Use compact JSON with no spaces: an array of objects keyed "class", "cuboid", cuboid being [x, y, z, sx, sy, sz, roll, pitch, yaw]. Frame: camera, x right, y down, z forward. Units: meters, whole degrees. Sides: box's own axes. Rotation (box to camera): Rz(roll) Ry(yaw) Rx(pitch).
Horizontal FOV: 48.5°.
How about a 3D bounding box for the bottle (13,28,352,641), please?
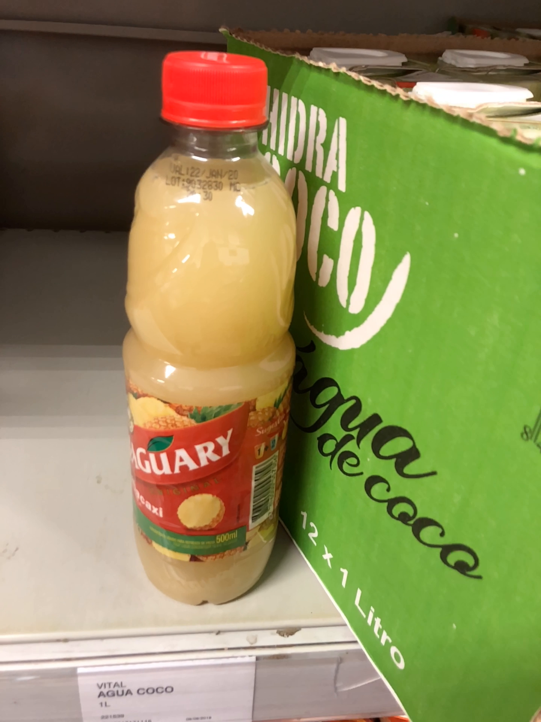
[{"class":"bottle","cuboid":[-0.029,0.001,0.222,0.070,0.208,0.060,25,39,28]}]
